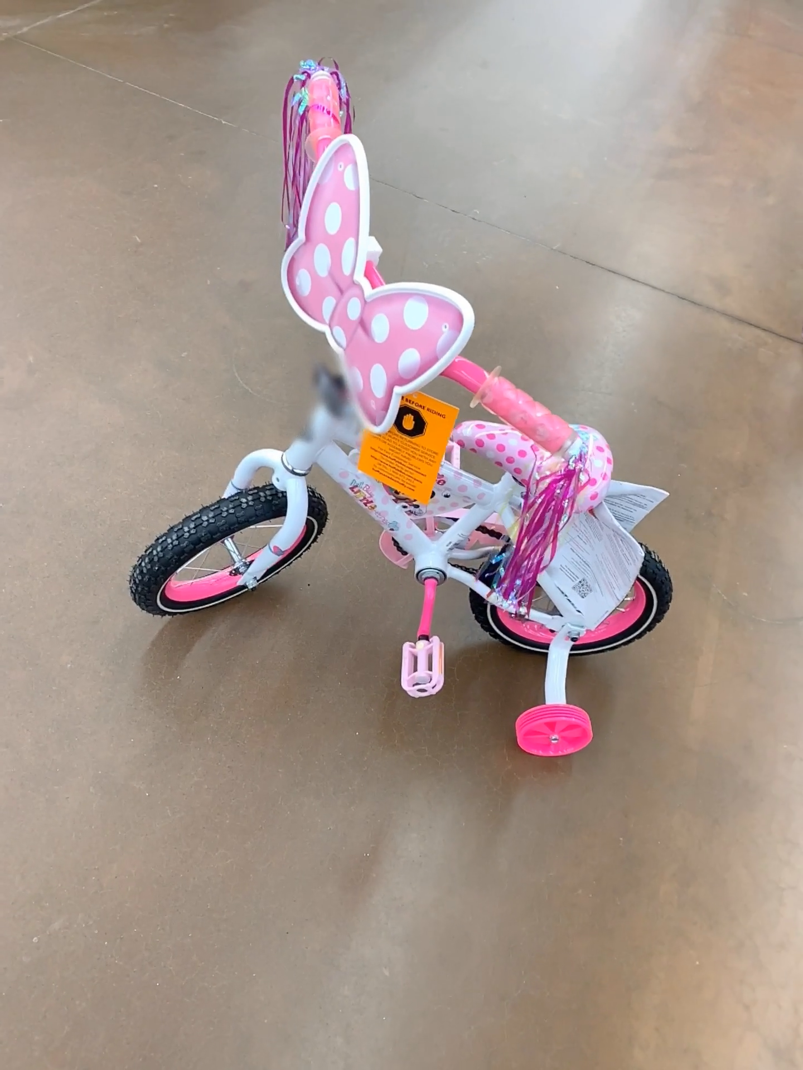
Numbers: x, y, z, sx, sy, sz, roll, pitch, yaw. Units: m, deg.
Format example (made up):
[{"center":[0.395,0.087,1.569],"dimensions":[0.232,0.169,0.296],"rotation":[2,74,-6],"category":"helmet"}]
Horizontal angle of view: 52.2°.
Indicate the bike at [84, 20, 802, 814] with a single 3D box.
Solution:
[{"center":[0.069,-0.041,0.994],"dimensions":[0.759,0.750,0.444],"rotation":[0,50,-16],"category":"bike"}]
